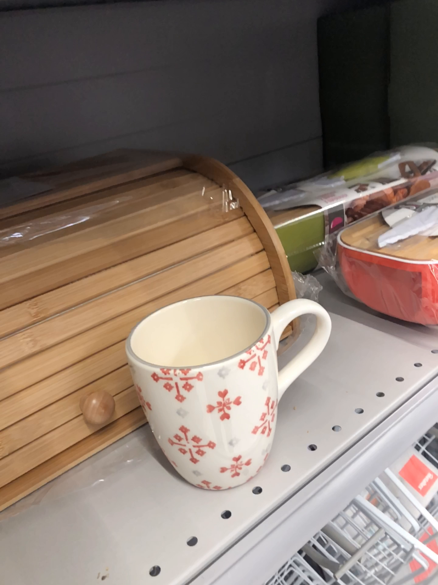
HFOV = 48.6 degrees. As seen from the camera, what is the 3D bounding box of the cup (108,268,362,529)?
[{"bbox_3d":[0.010,0.057,0.307,0.125,0.089,0.090,-18,27,-18],"label":"cup"}]
